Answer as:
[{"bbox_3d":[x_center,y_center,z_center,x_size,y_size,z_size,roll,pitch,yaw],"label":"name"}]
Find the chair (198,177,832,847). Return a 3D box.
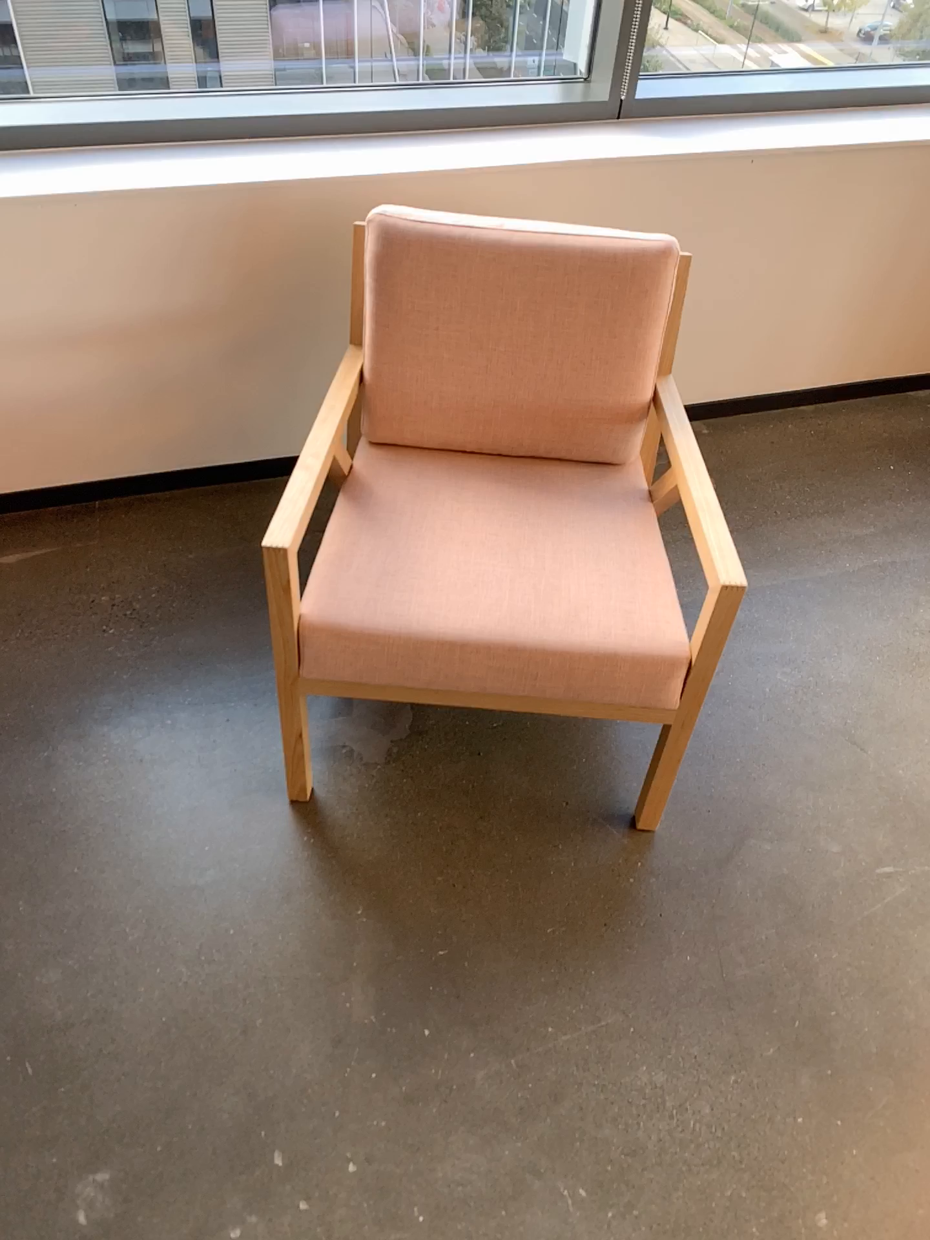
[{"bbox_3d":[0.059,-0.184,1.651,0.740,0.796,0.774,5,46,0],"label":"chair"}]
